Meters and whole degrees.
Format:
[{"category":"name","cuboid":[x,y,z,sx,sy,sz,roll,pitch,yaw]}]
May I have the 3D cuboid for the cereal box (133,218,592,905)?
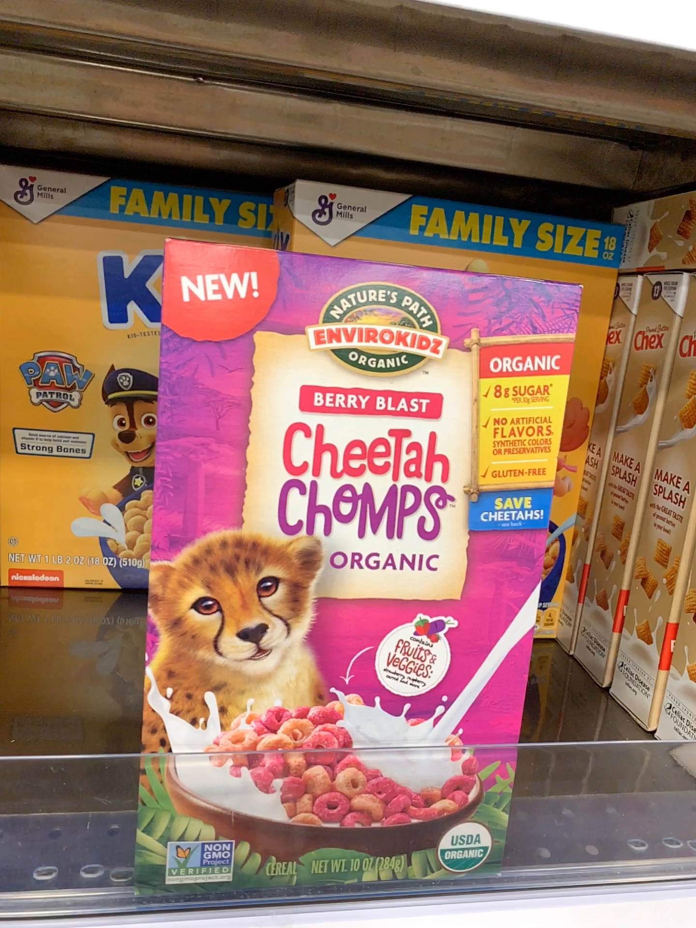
[{"category":"cereal box","cuboid":[-0.002,0.046,0.314,0.160,0.269,0.060,3,10,-10]}]
